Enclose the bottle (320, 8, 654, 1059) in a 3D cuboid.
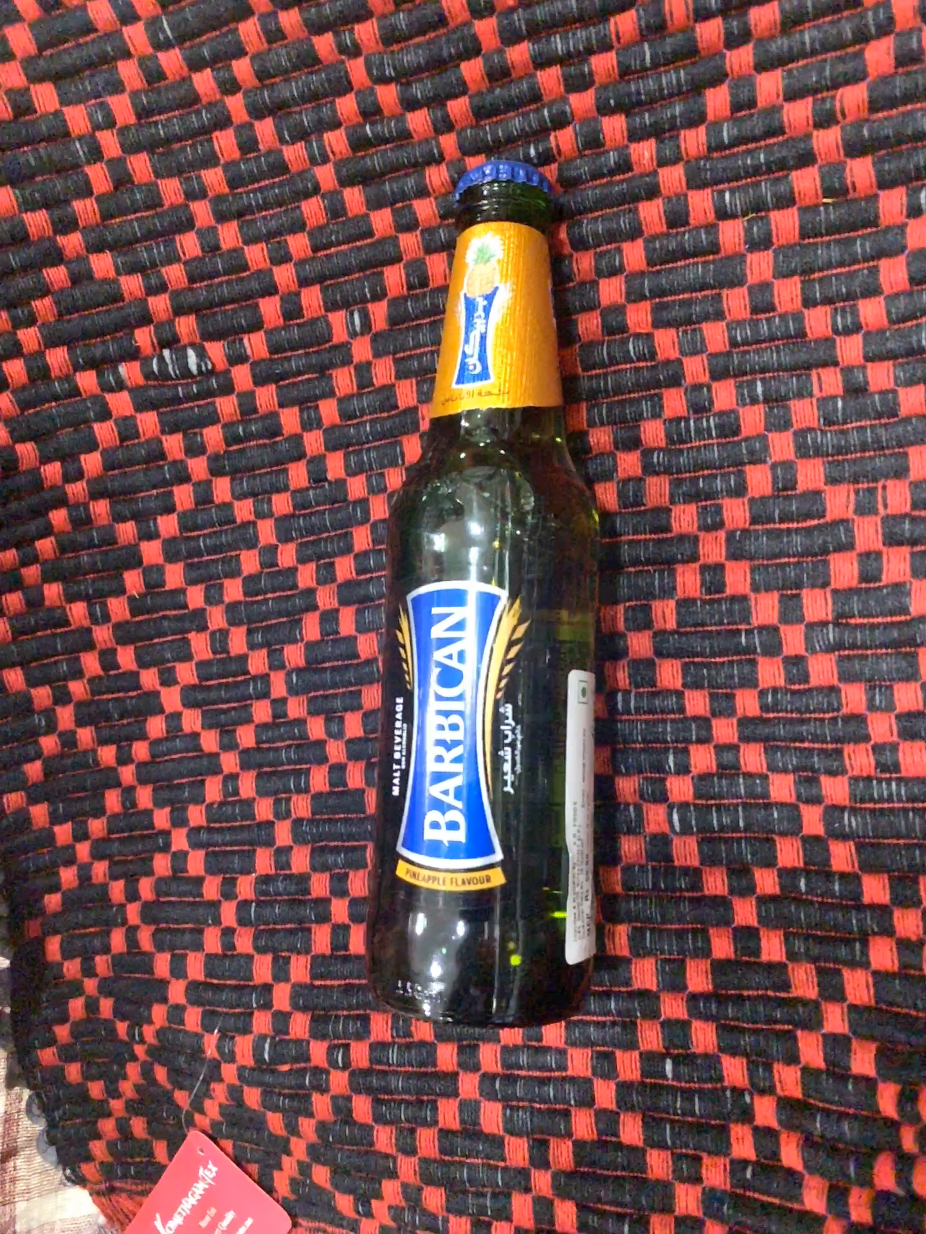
[{"bbox_3d":[0.014,-0.025,0.261,0.060,0.070,0.250,-1,78,21],"label":"bottle"}]
